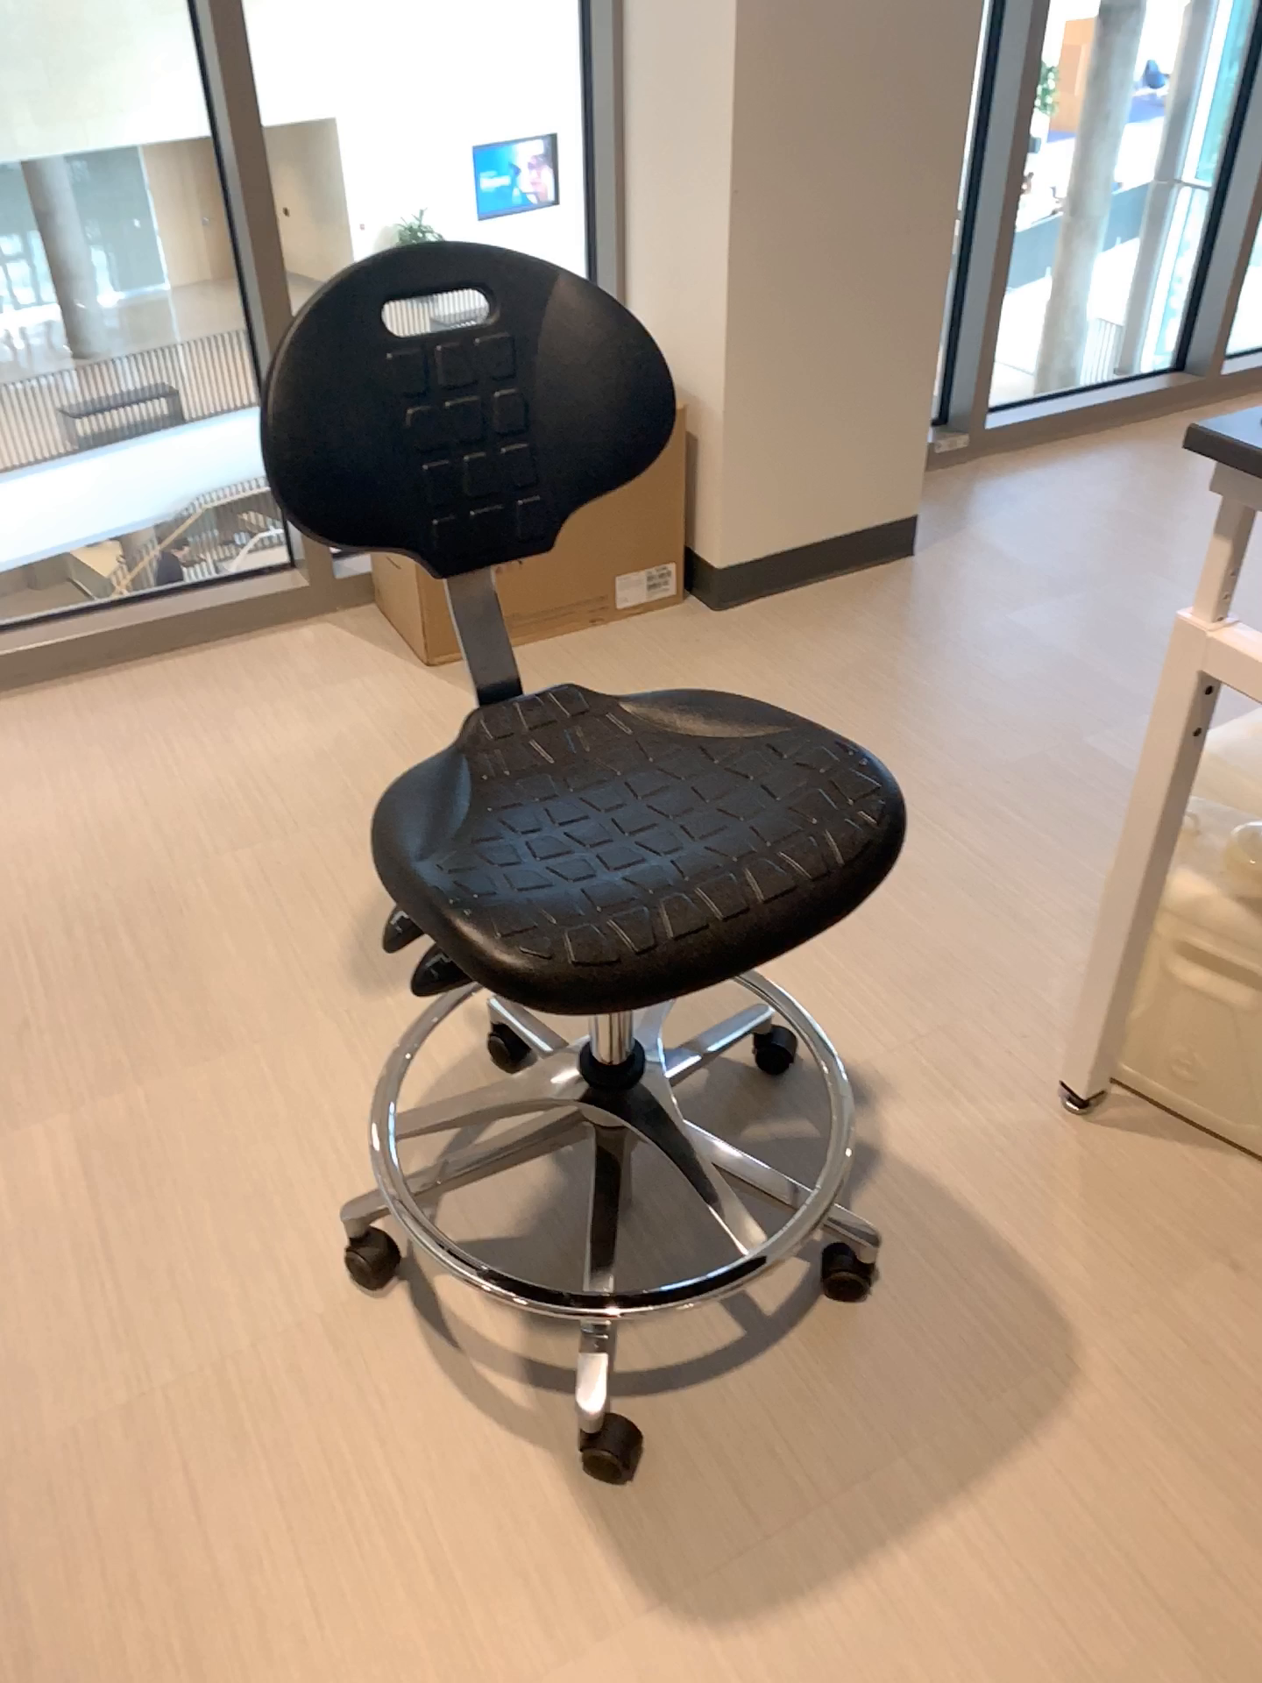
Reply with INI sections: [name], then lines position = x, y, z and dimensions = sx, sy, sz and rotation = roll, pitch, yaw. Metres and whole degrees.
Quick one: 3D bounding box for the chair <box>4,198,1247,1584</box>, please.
[chair]
position = -0.025, -0.004, 1.247
dimensions = 0.672, 0.961, 0.664
rotation = -24, 42, -29
